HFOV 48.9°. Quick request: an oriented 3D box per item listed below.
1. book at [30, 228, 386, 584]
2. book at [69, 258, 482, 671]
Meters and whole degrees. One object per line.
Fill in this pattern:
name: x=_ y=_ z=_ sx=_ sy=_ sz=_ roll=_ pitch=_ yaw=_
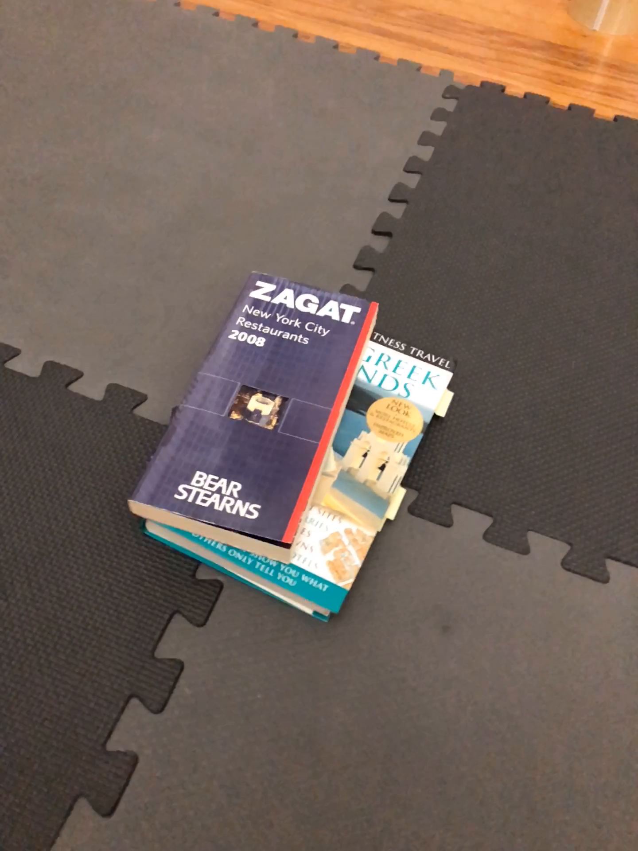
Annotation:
book: x=-0.057 y=-0.032 z=0.470 sx=0.150 sy=0.020 sz=0.251 roll=15 pitch=54 yaw=6
book: x=-0.013 y=0.003 z=0.470 sx=0.170 sy=0.030 sz=0.261 roll=22 pitch=55 yaw=11
